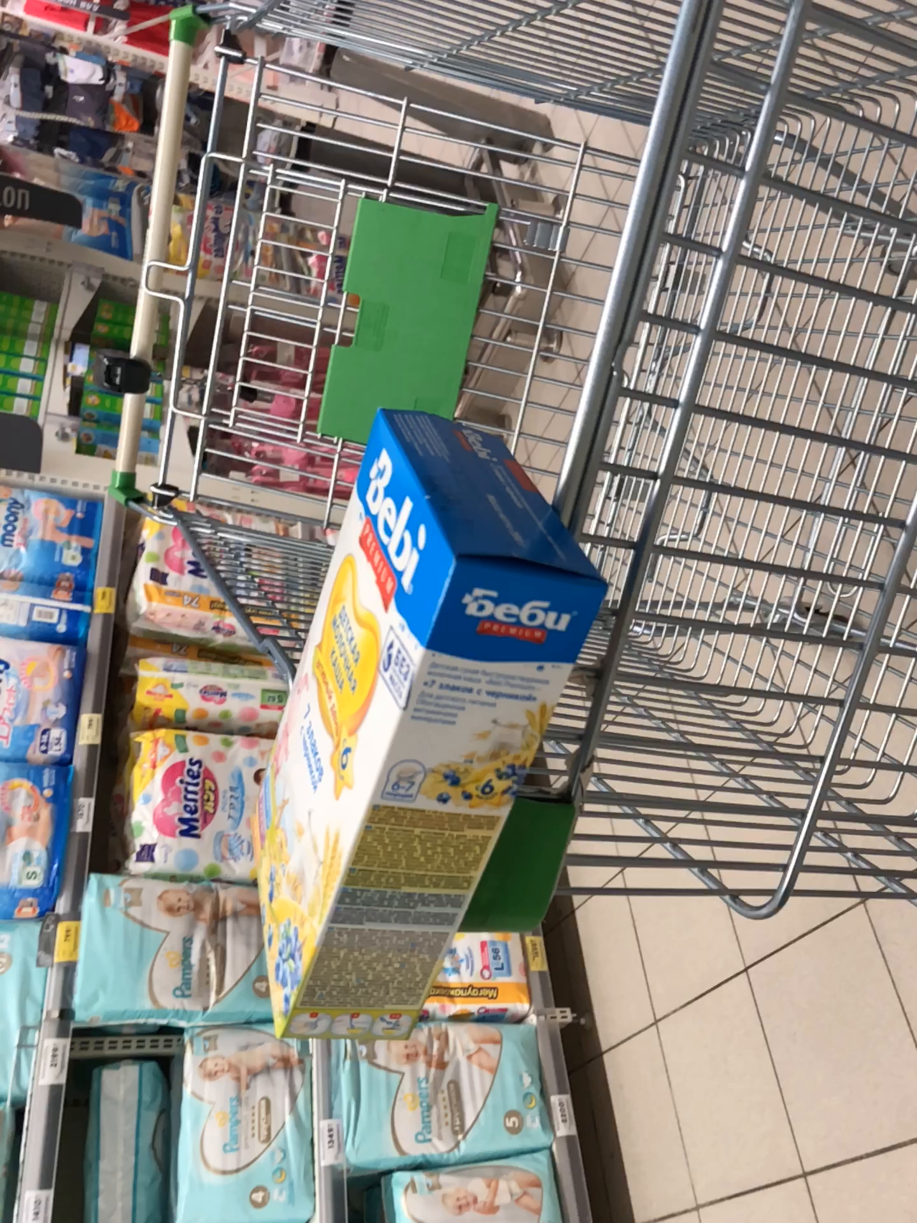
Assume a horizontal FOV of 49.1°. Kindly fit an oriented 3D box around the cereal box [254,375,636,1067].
[{"bbox_3d":[-0.023,0.039,0.374,0.140,0.050,0.210,-115,40,-56],"label":"cereal box"}]
